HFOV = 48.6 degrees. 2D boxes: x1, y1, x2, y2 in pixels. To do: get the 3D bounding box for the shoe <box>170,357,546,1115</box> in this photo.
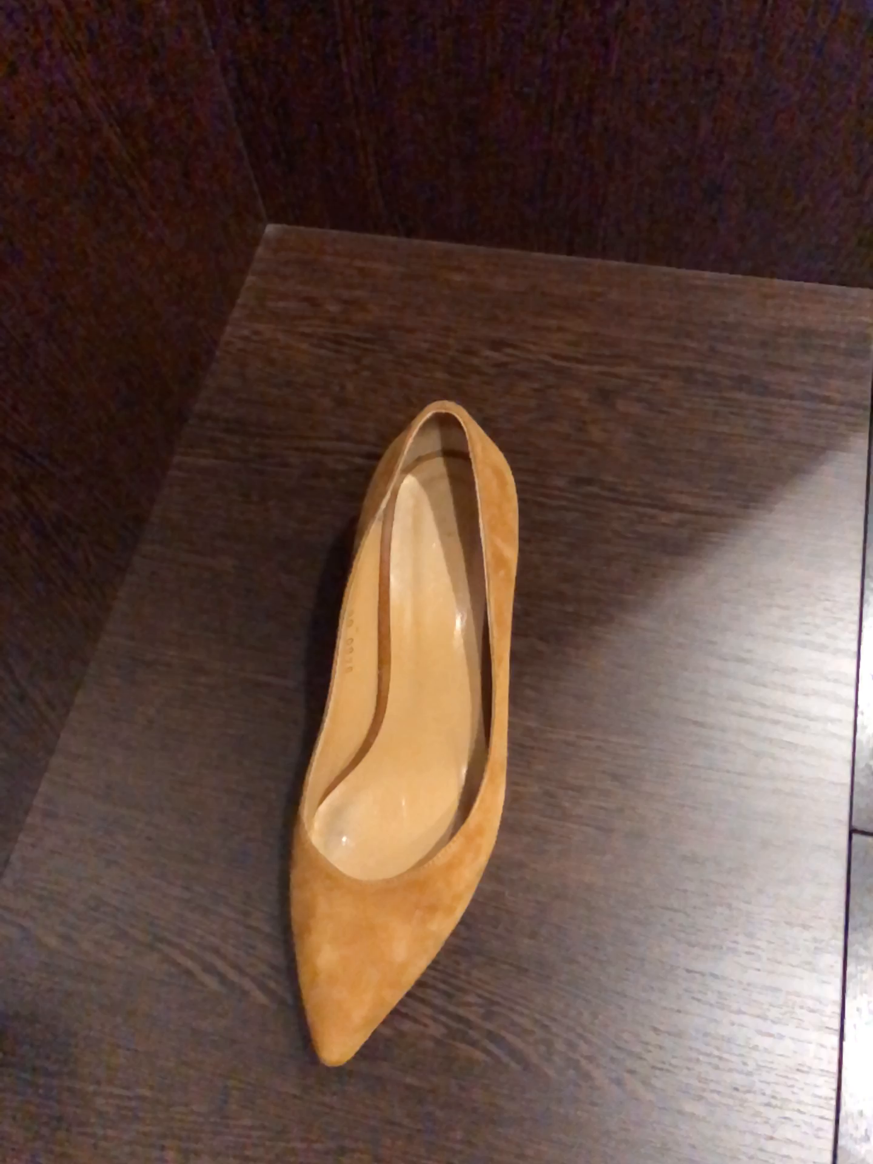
[{"bbox_3d":[-0.013,0.051,0.388,0.090,0.100,0.270,5,64,8],"label":"shoe"}]
